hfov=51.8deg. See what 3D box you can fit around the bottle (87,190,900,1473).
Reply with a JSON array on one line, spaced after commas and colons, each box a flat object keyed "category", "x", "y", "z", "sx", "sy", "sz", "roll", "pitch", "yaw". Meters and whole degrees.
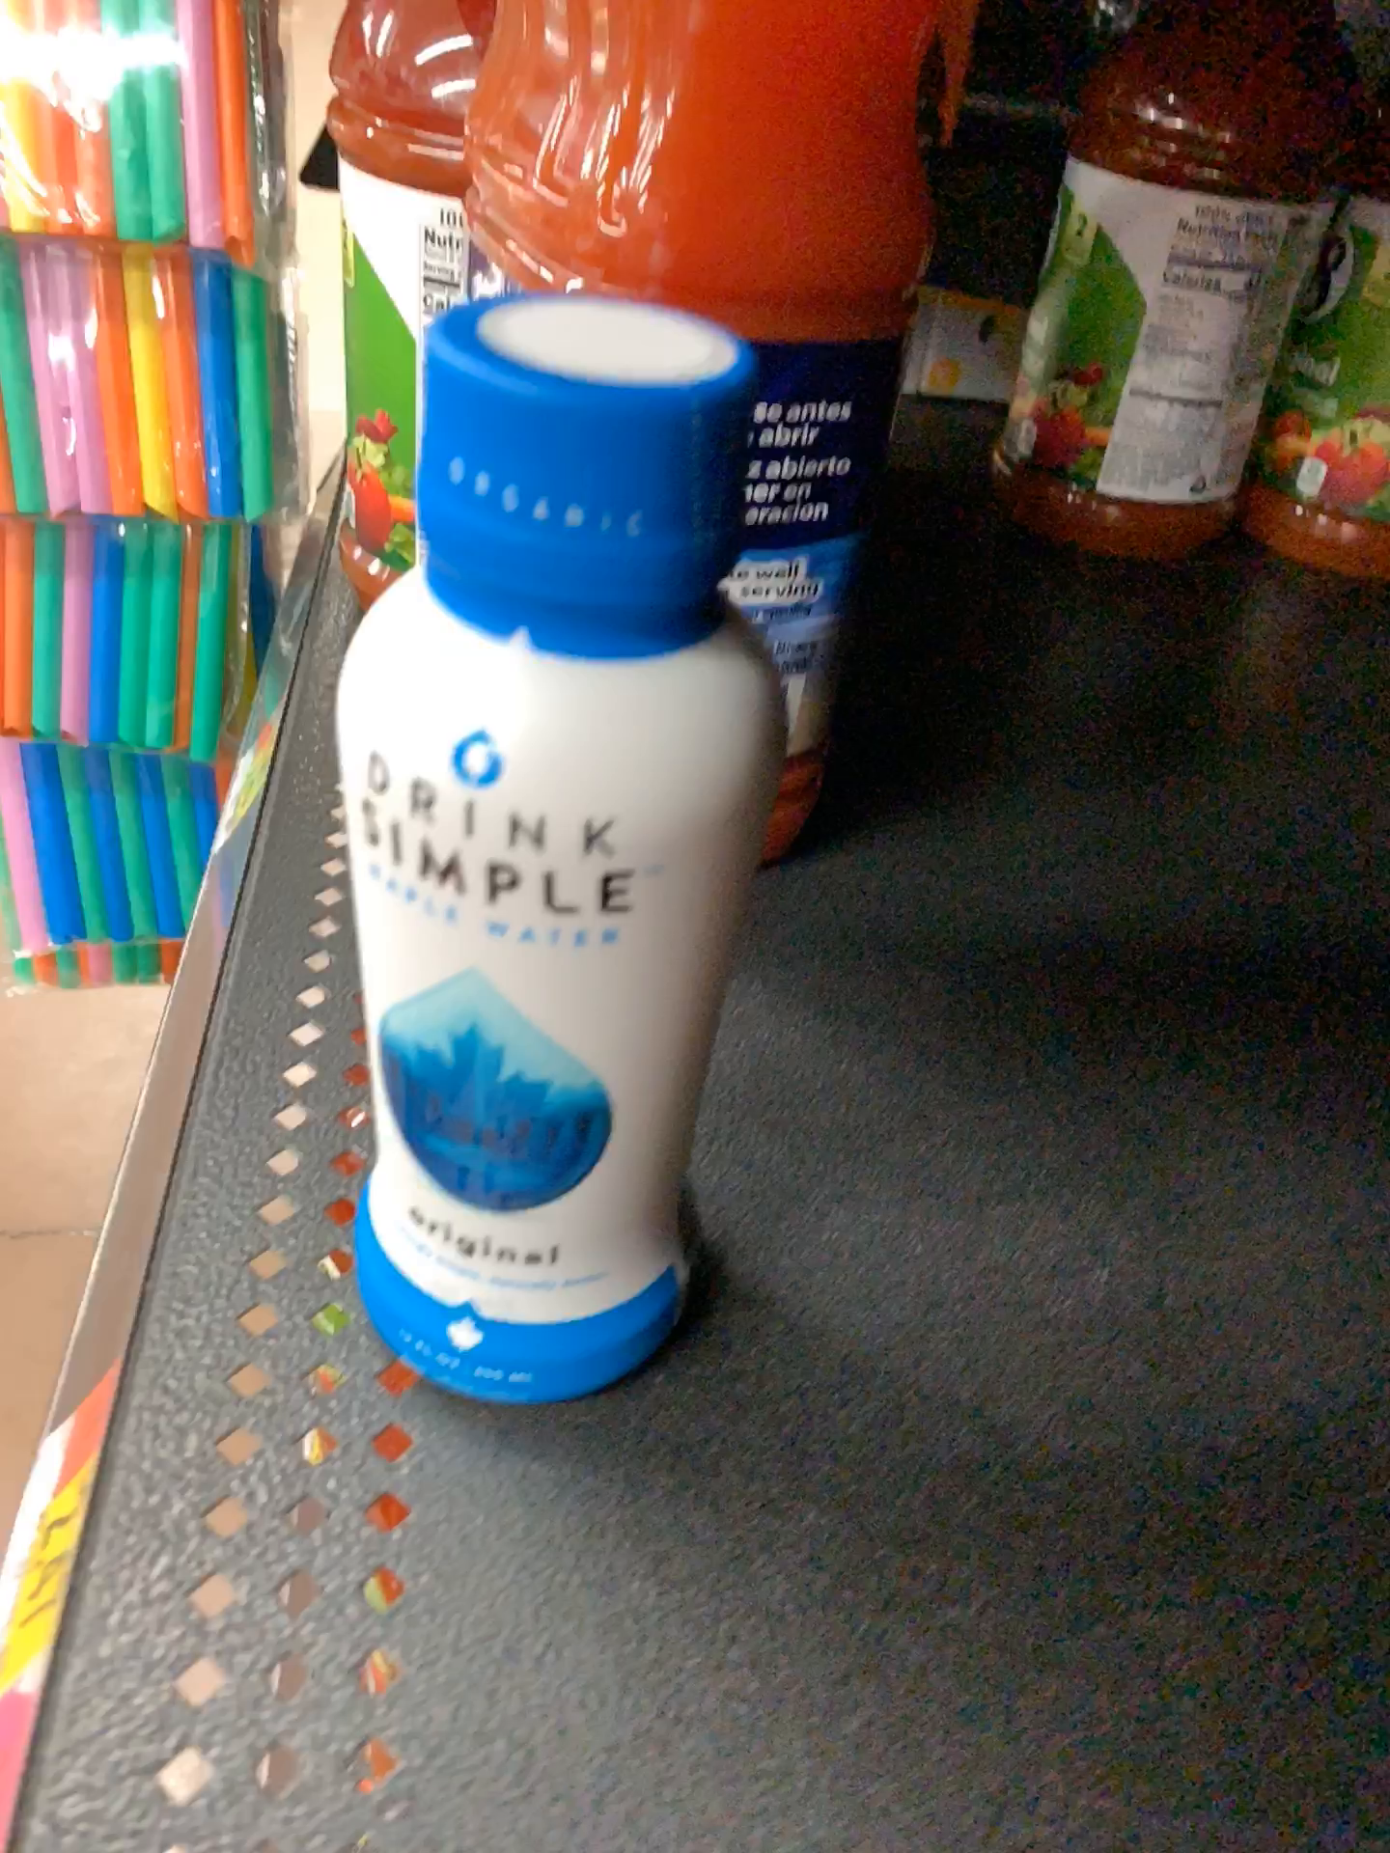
[{"category": "bottle", "x": -0.025, "y": -0.006, "z": 0.214, "sx": 0.070, "sy": 0.169, "sz": 0.066, "roll": 4, "pitch": 37, "yaw": -3}]
